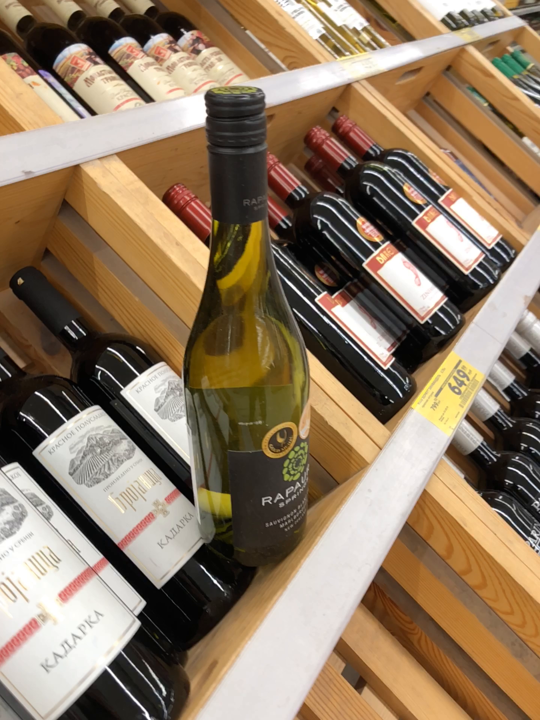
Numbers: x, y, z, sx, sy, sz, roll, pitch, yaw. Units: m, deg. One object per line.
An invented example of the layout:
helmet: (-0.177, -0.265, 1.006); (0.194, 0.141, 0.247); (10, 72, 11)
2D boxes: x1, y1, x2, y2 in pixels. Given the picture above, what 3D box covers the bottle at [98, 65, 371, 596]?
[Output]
bottle: (-0.014, -0.007, 0.354); (0.090, 0.288, 0.090); (0, 32, 0)
